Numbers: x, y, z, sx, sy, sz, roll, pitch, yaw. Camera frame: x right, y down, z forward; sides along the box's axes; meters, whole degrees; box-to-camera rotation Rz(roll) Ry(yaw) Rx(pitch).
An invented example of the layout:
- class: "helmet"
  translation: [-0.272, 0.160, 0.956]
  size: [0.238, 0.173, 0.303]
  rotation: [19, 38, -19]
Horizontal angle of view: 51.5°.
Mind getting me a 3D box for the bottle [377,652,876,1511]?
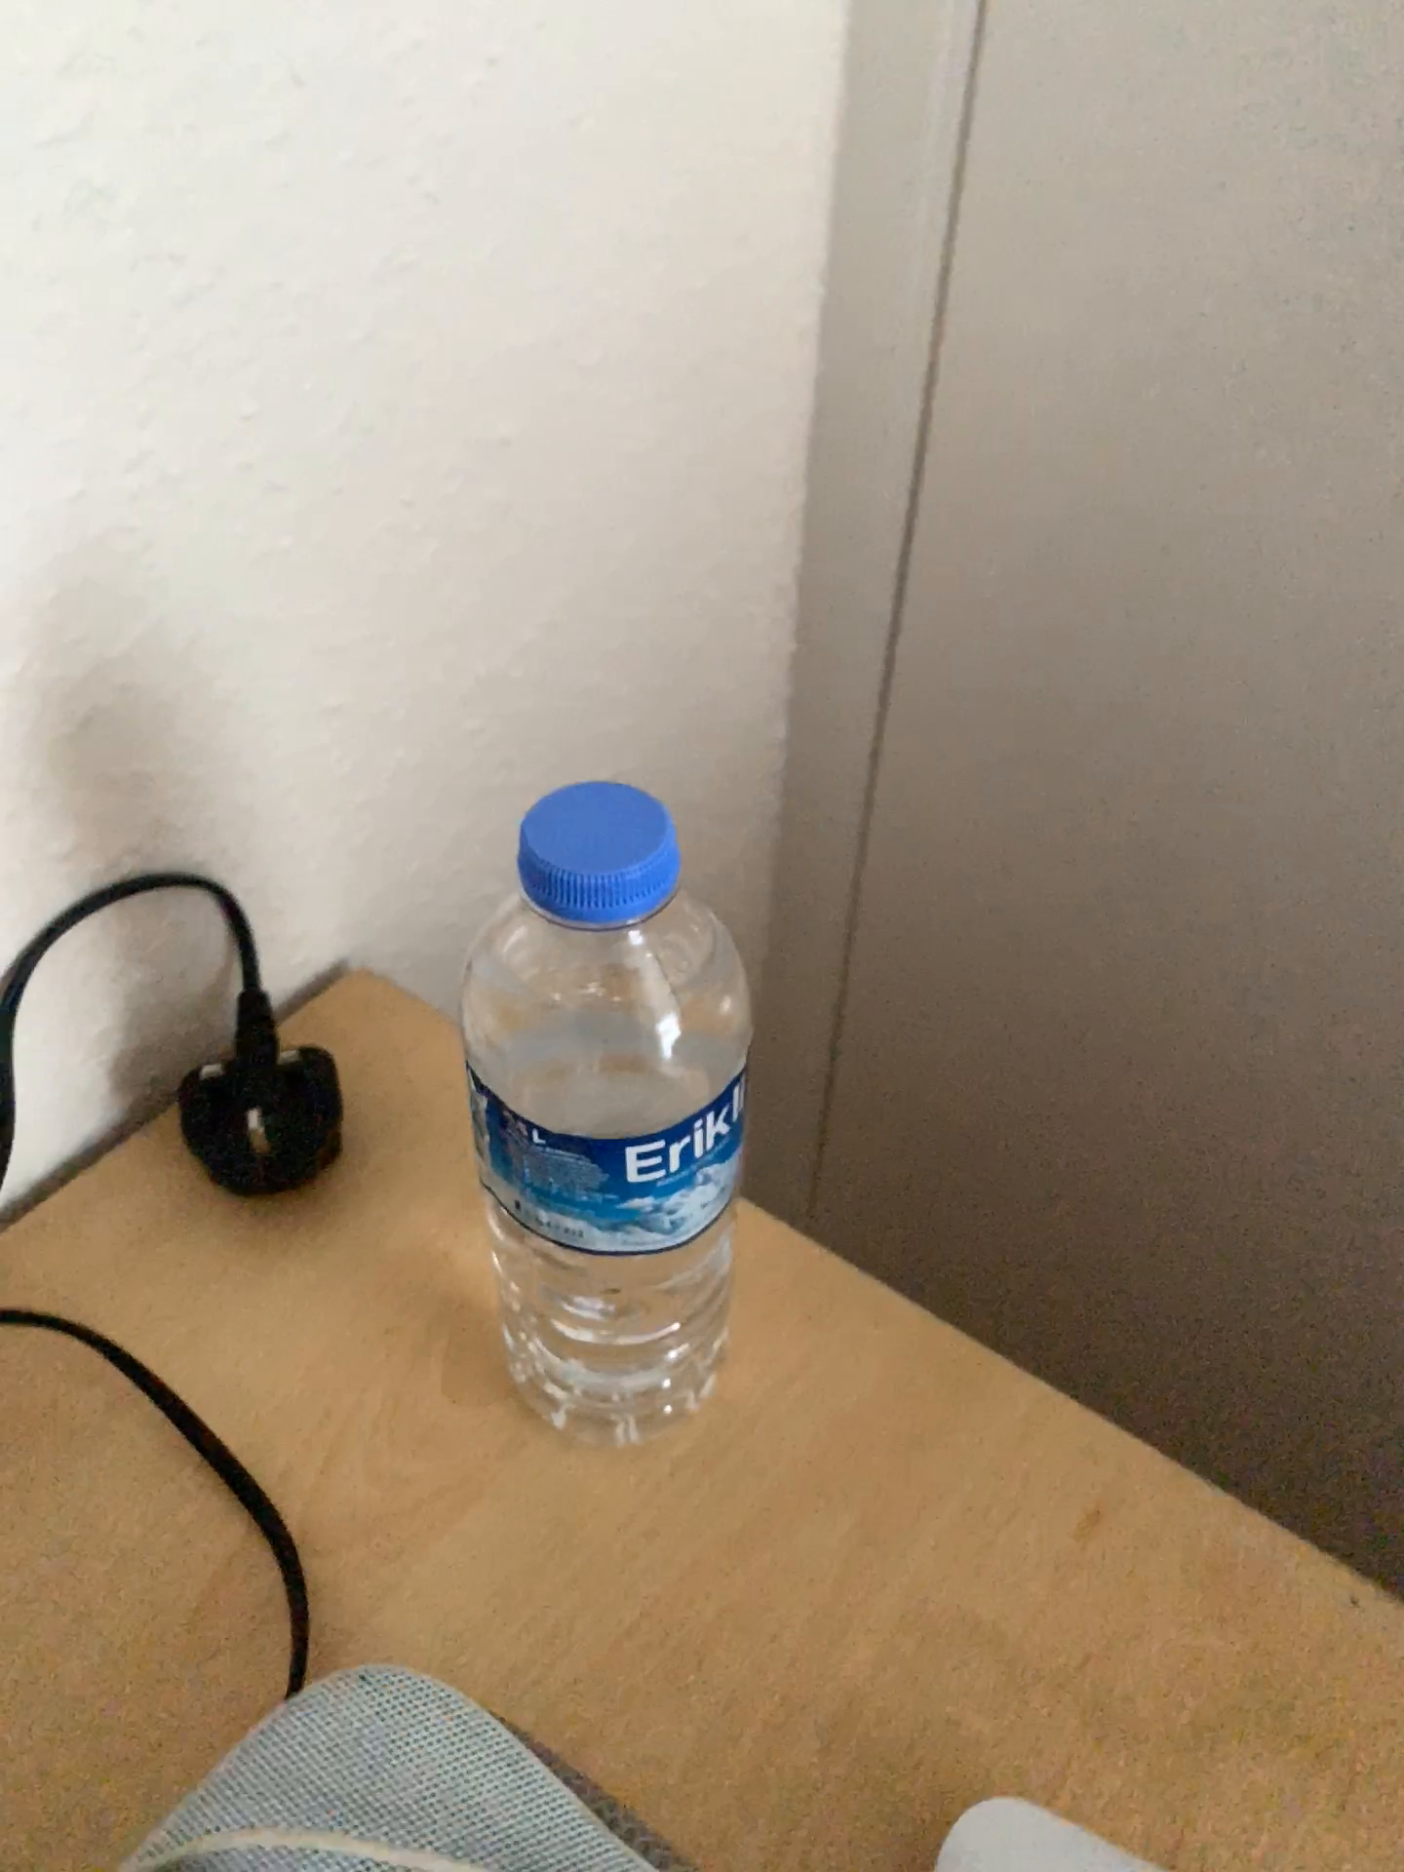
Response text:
- class: "bottle"
  translation: [-0.019, 0.041, 0.343]
  size: [0.070, 0.188, 0.070]
  rotation: [2, 40, -1]
